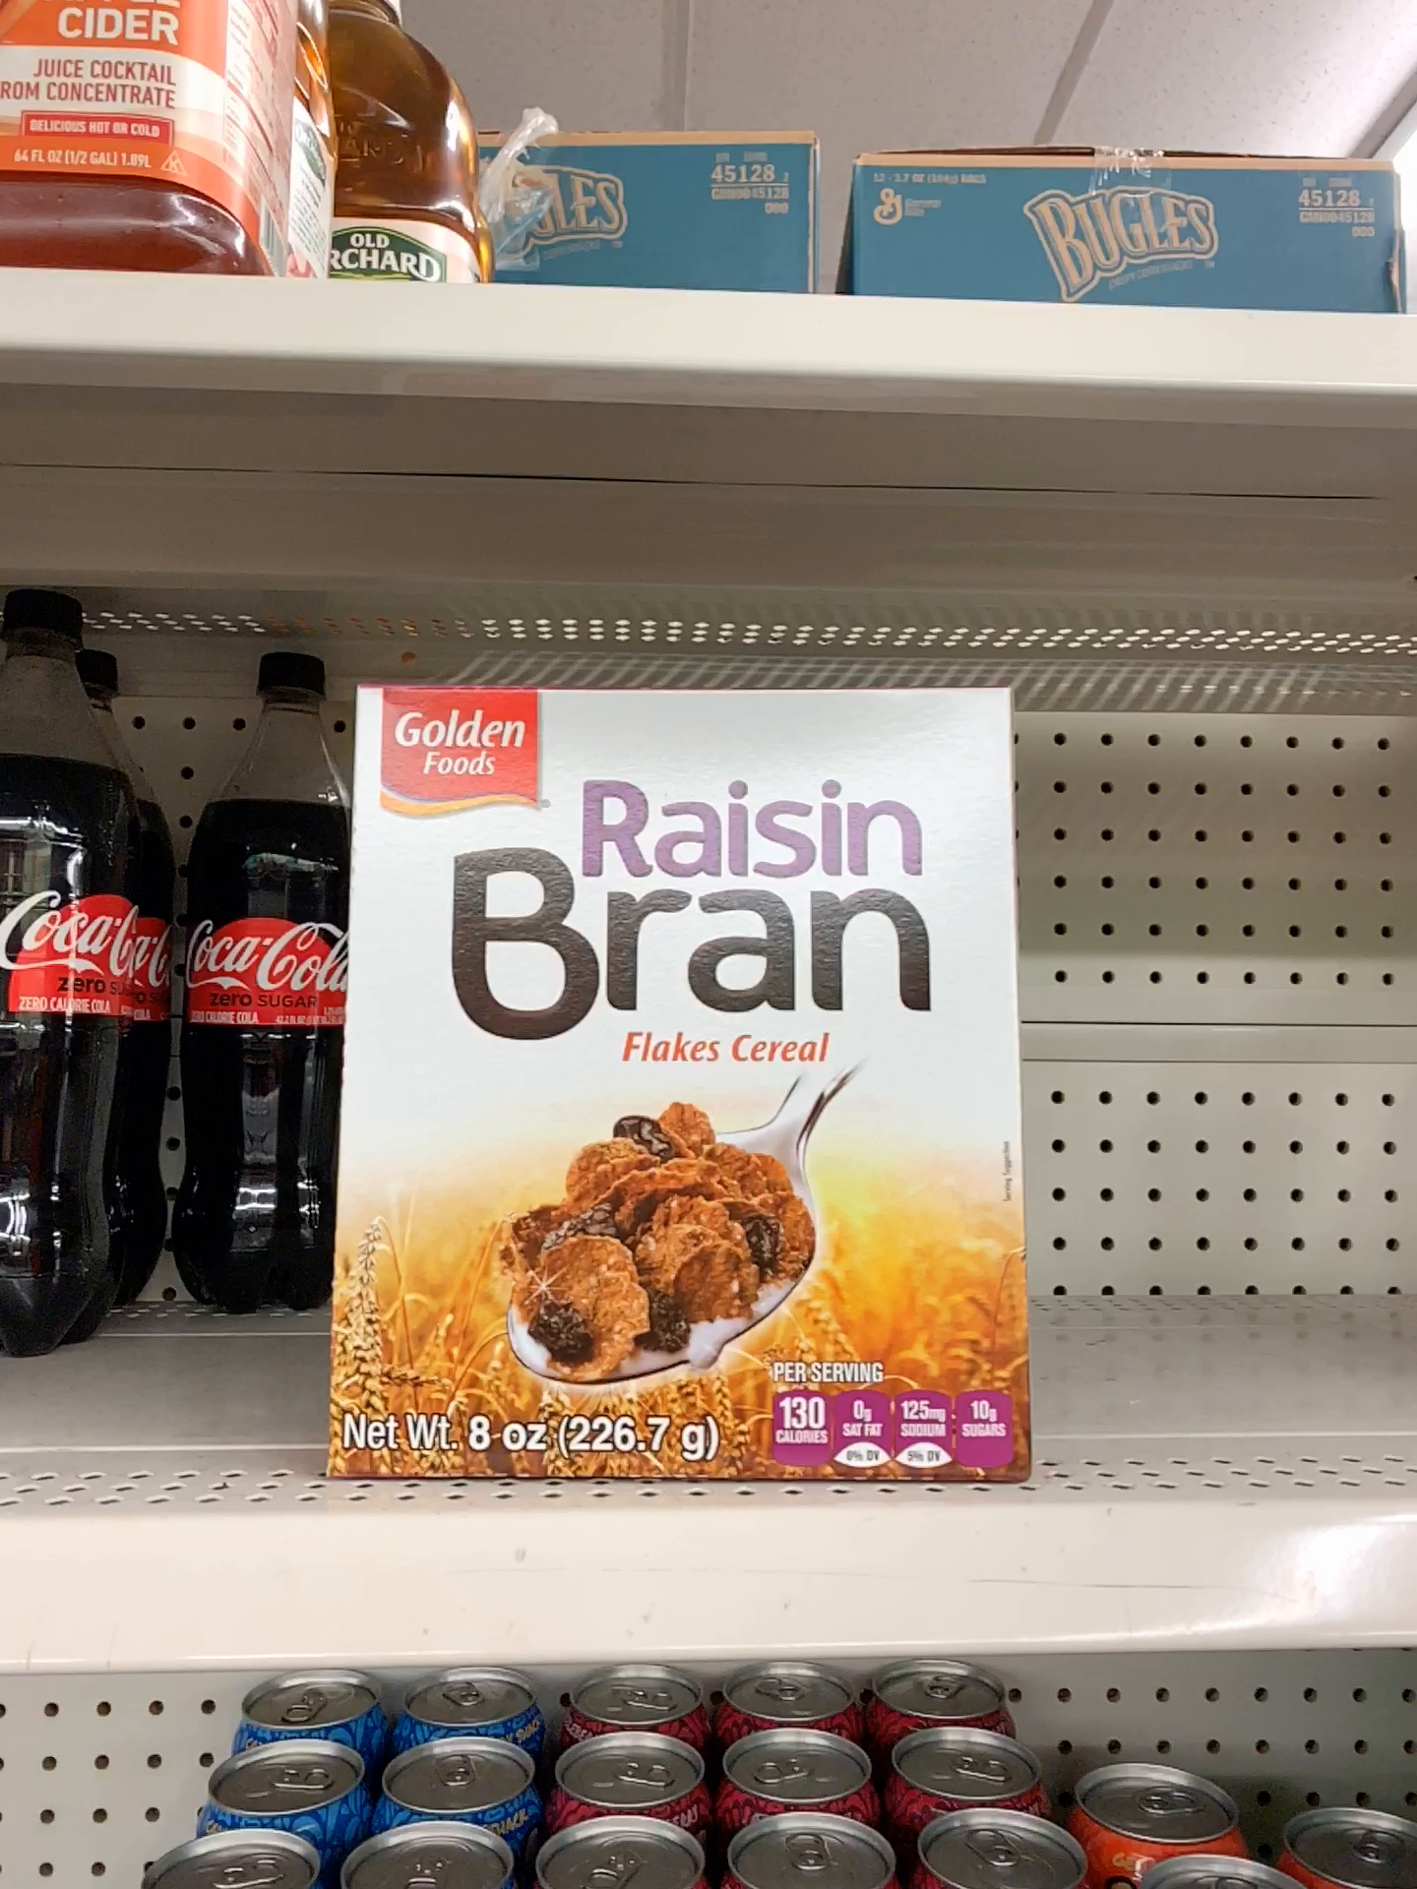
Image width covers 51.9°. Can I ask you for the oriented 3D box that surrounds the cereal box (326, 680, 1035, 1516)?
[{"bbox_3d":[-0.007,0.041,0.430,0.190,0.230,0.050,0,-7,1],"label":"cereal box"}]
